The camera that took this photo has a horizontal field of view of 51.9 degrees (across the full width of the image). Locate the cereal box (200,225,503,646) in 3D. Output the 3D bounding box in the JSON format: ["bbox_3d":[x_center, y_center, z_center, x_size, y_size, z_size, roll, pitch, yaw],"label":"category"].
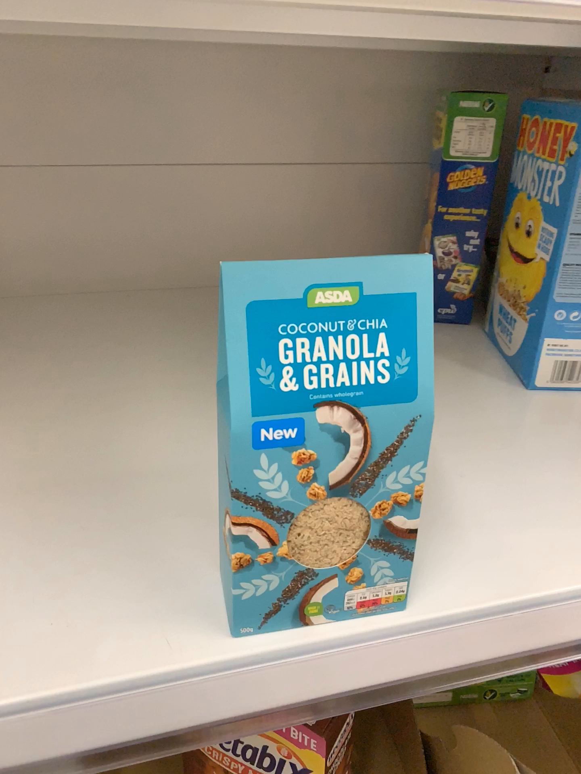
[{"bbox_3d":[0.023,0.033,0.357,0.140,0.238,0.071,-4,28,-11],"label":"cereal box"}]
